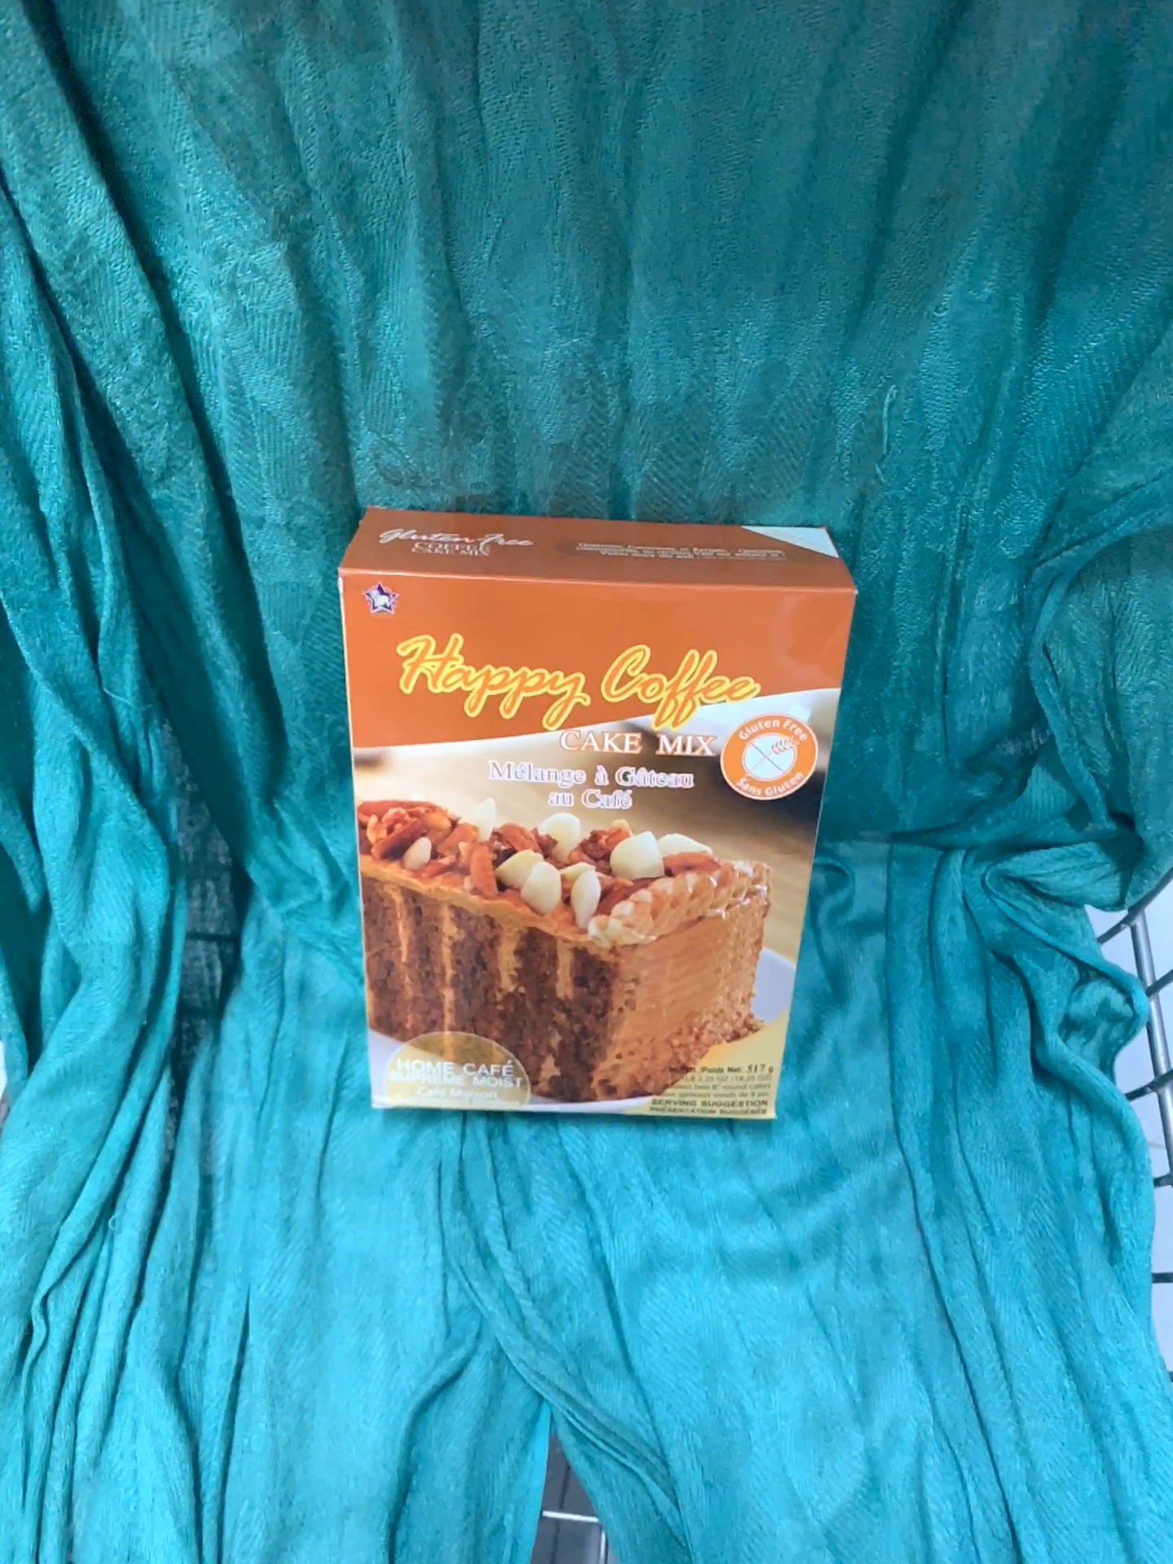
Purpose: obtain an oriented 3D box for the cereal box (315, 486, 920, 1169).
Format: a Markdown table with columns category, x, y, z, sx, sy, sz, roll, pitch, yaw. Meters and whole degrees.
| category | x | y | z | sx | sy | sz | roll | pitch | yaw |
| --- | --- | --- | --- | --- | --- | --- | --- | --- | --- |
| cereal box | 0.003 | 0.023 | 0.373 | 0.150 | 0.210 | 0.050 | 2 | 30 | -1 |
